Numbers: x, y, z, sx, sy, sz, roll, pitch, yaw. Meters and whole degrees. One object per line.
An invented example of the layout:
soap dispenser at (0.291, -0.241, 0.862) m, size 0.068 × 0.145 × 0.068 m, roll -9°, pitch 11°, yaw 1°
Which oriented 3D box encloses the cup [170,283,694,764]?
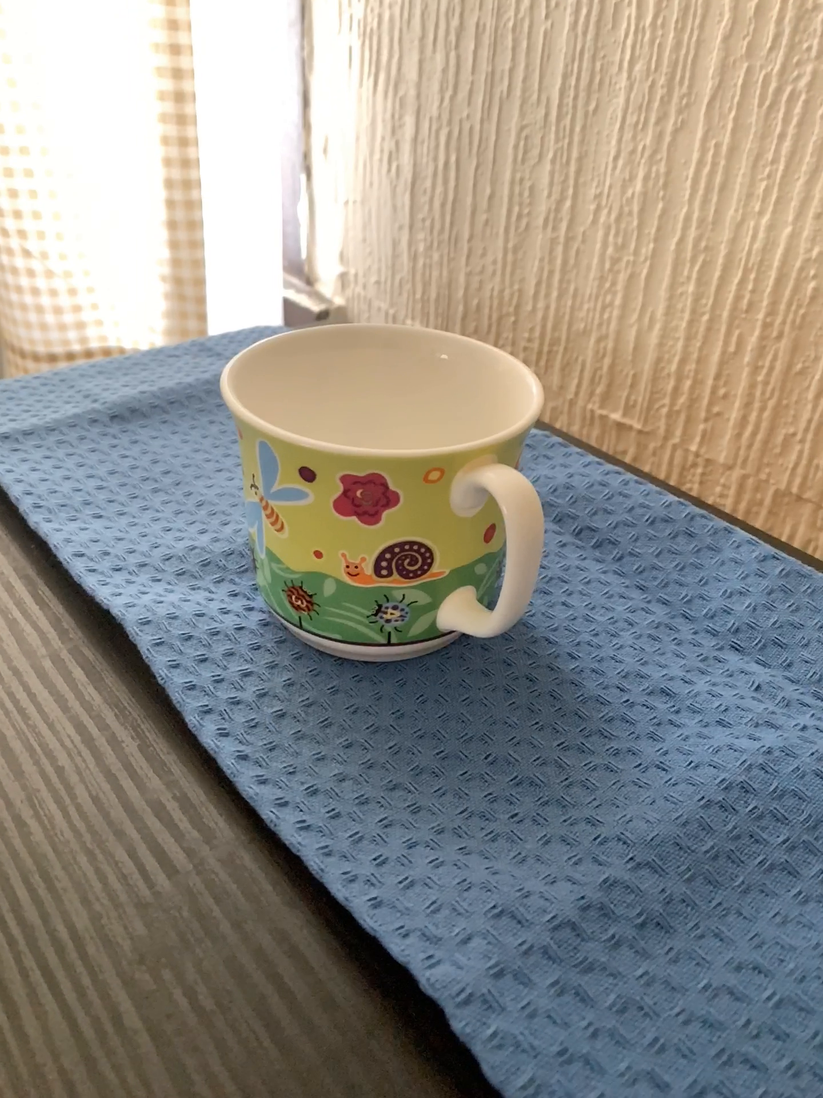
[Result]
cup at (-0.001, -0.019, 0.243) m, size 0.080 × 0.069 × 0.121 m, roll -22°, pitch 41°, yaw -32°
